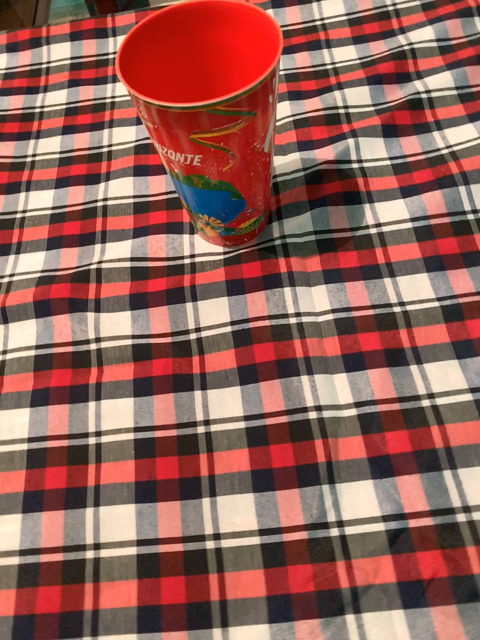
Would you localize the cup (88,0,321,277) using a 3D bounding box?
[{"bbox_3d":[-0.017,-0.119,0.319,0.100,0.130,0.100,-3,61,5],"label":"cup"}]
